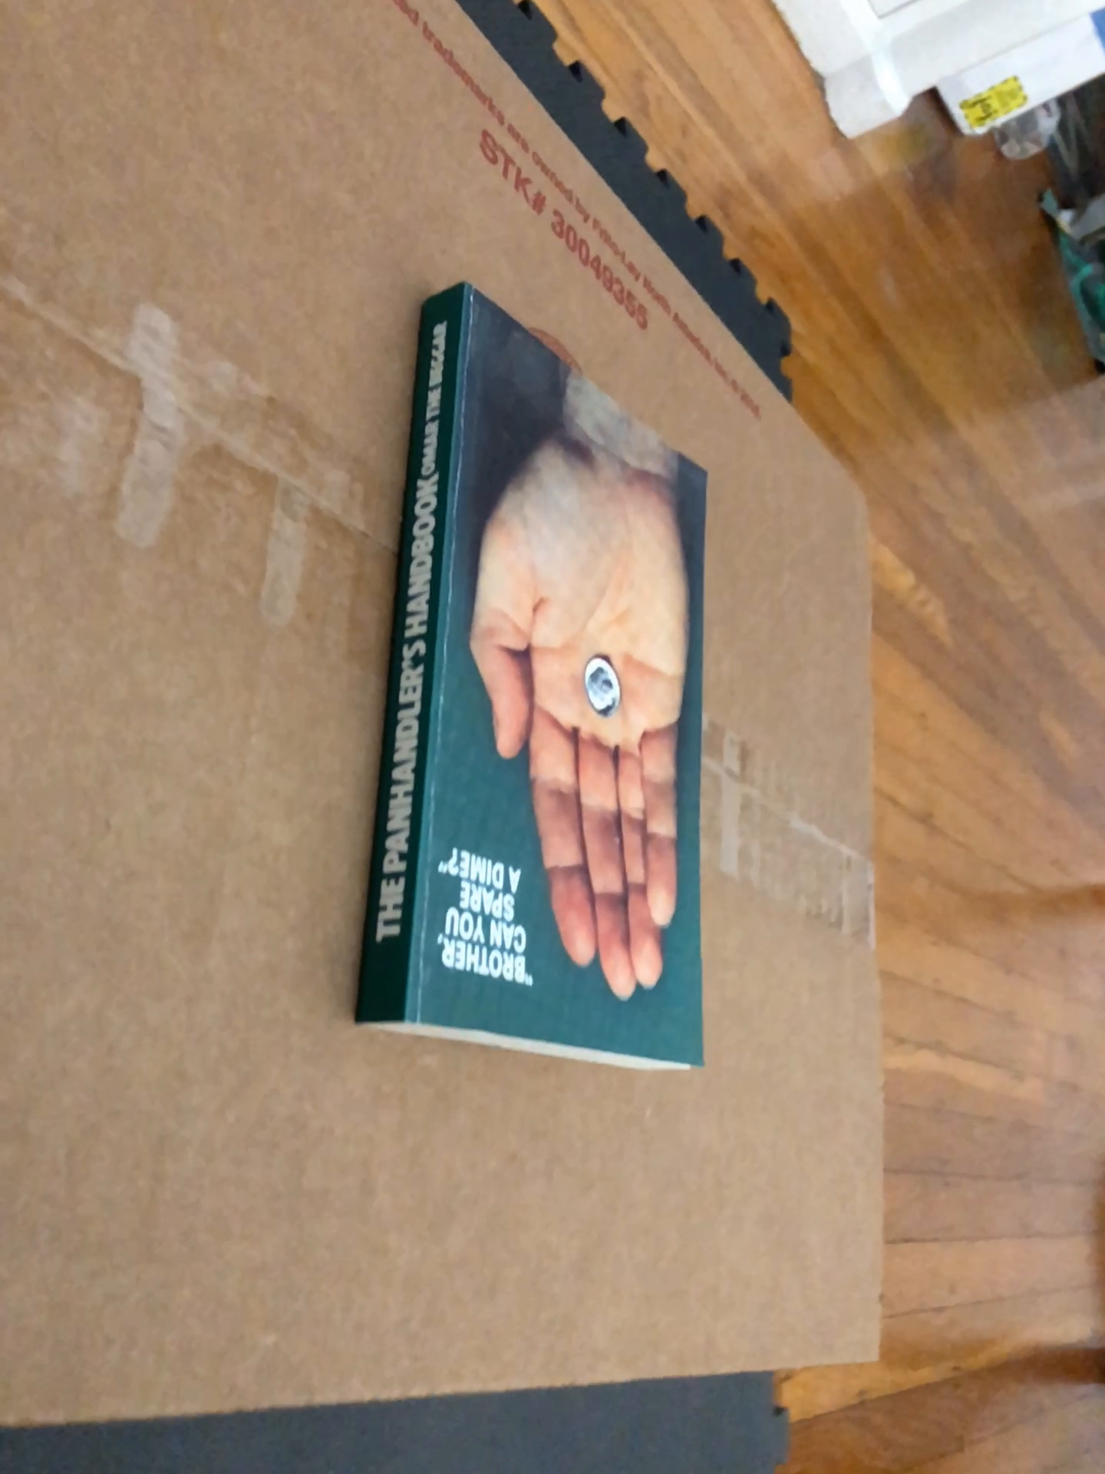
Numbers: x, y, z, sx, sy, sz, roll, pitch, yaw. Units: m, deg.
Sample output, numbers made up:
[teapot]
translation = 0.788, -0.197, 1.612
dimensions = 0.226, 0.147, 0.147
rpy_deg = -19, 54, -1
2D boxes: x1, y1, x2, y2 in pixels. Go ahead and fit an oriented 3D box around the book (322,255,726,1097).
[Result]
[book]
translation = 0.004, -0.008, 0.305
dimensions = 0.121, 0.020, 0.180
rpy_deg = 25, 61, -48
